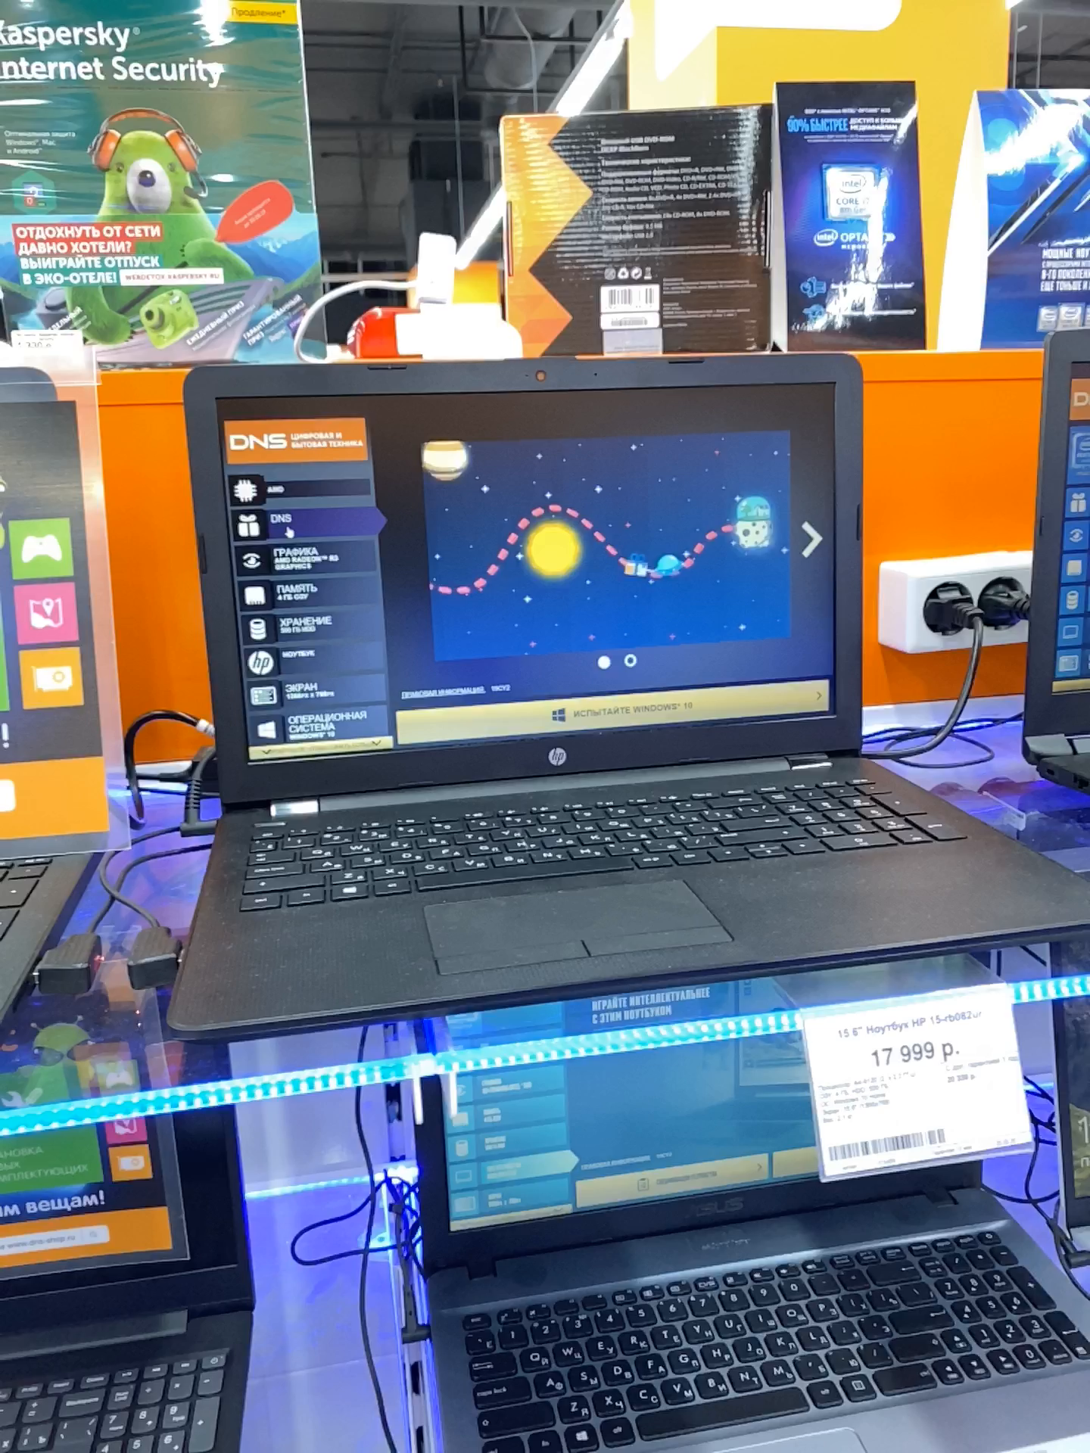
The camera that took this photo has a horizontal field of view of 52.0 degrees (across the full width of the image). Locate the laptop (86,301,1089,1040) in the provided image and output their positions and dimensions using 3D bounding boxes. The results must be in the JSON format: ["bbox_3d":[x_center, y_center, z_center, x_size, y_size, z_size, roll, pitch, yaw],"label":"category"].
[{"bbox_3d":[0.026,-0.053,0.511,0.369,0.231,0.272,-4,14,-11],"label":"laptop"}]
